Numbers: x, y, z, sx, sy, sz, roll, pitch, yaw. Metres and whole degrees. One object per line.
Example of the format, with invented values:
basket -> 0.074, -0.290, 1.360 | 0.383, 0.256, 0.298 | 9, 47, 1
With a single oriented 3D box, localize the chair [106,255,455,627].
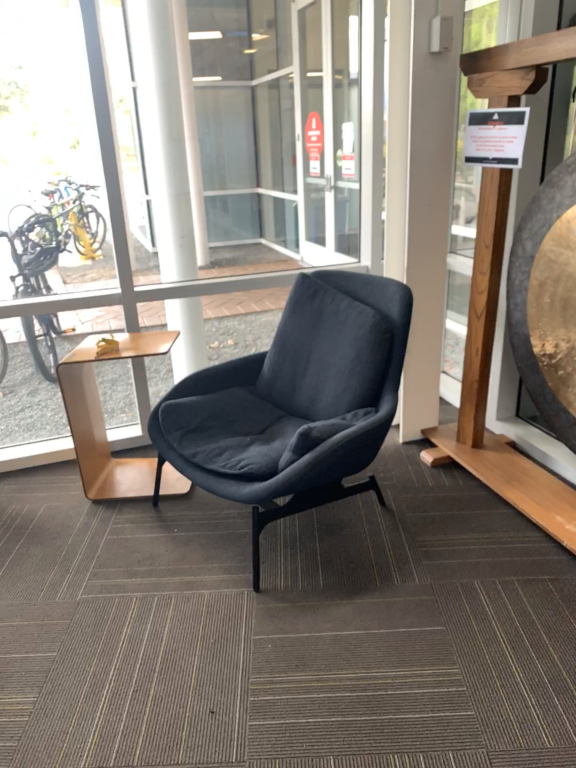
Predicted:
chair -> -0.017, 0.098, 2.383 | 0.941, 0.995, 0.903 | -20, 27, -37
